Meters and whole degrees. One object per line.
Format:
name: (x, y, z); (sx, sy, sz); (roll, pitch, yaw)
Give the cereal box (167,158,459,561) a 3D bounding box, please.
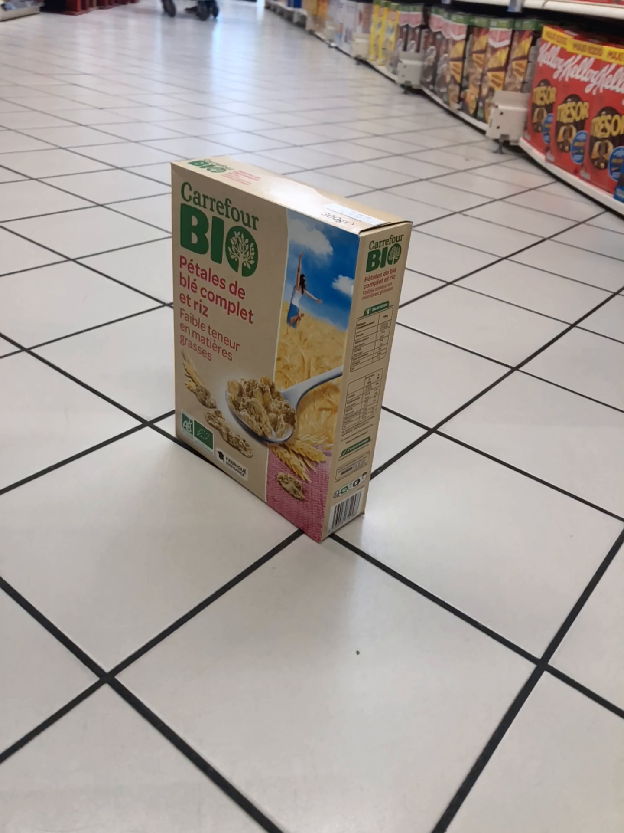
cereal box: (-0.020, -0.052, 0.536); (0.080, 0.238, 0.210); (-22, 41, -40)
